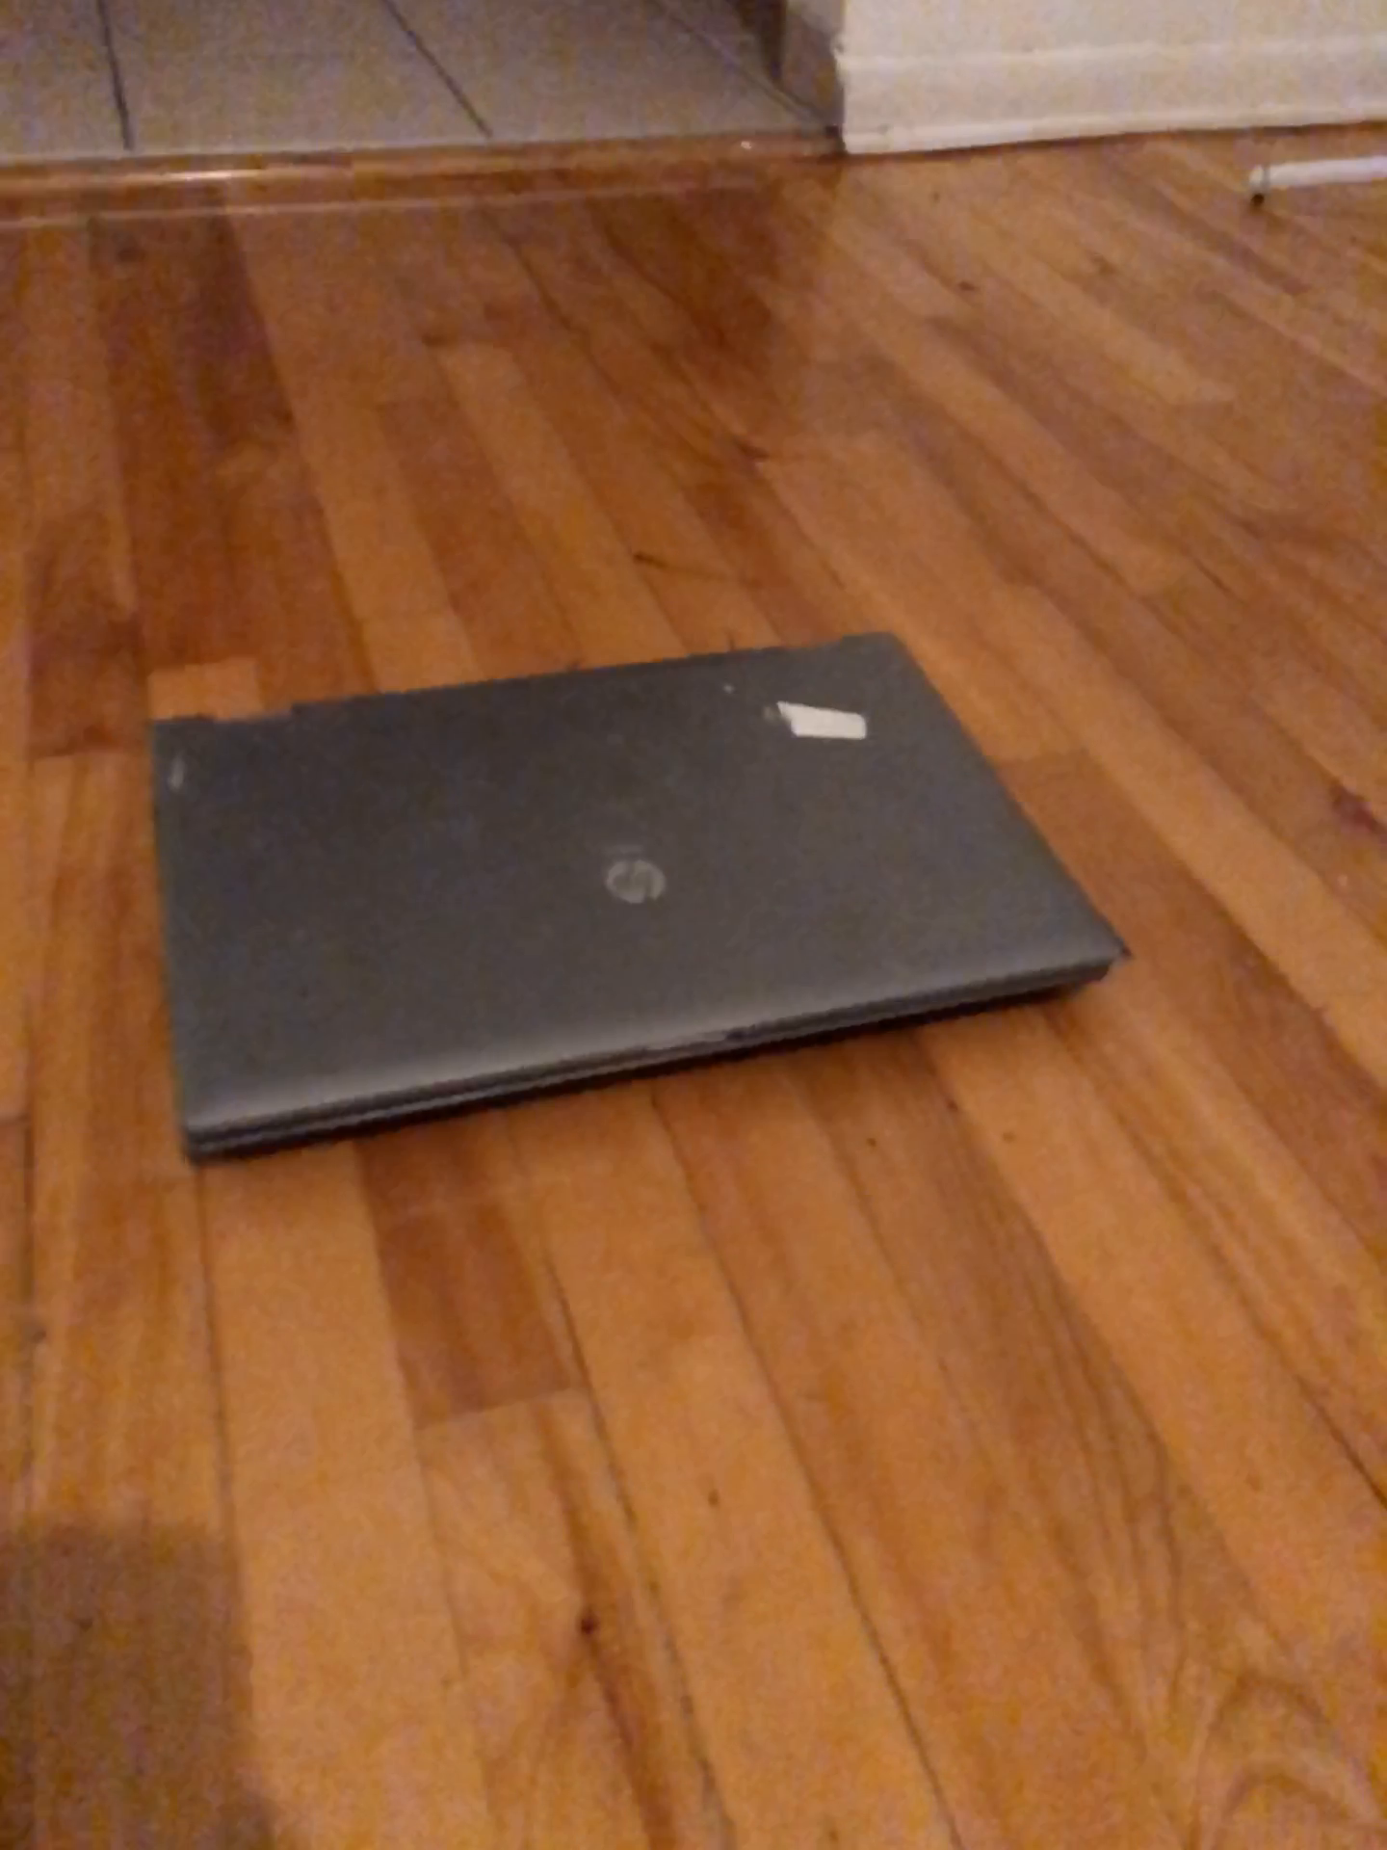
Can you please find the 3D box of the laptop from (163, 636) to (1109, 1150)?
[{"bbox_3d":[-0.036,-0.035,0.659,0.363,0.010,0.241,-10,46,-15],"label":"laptop"}]
